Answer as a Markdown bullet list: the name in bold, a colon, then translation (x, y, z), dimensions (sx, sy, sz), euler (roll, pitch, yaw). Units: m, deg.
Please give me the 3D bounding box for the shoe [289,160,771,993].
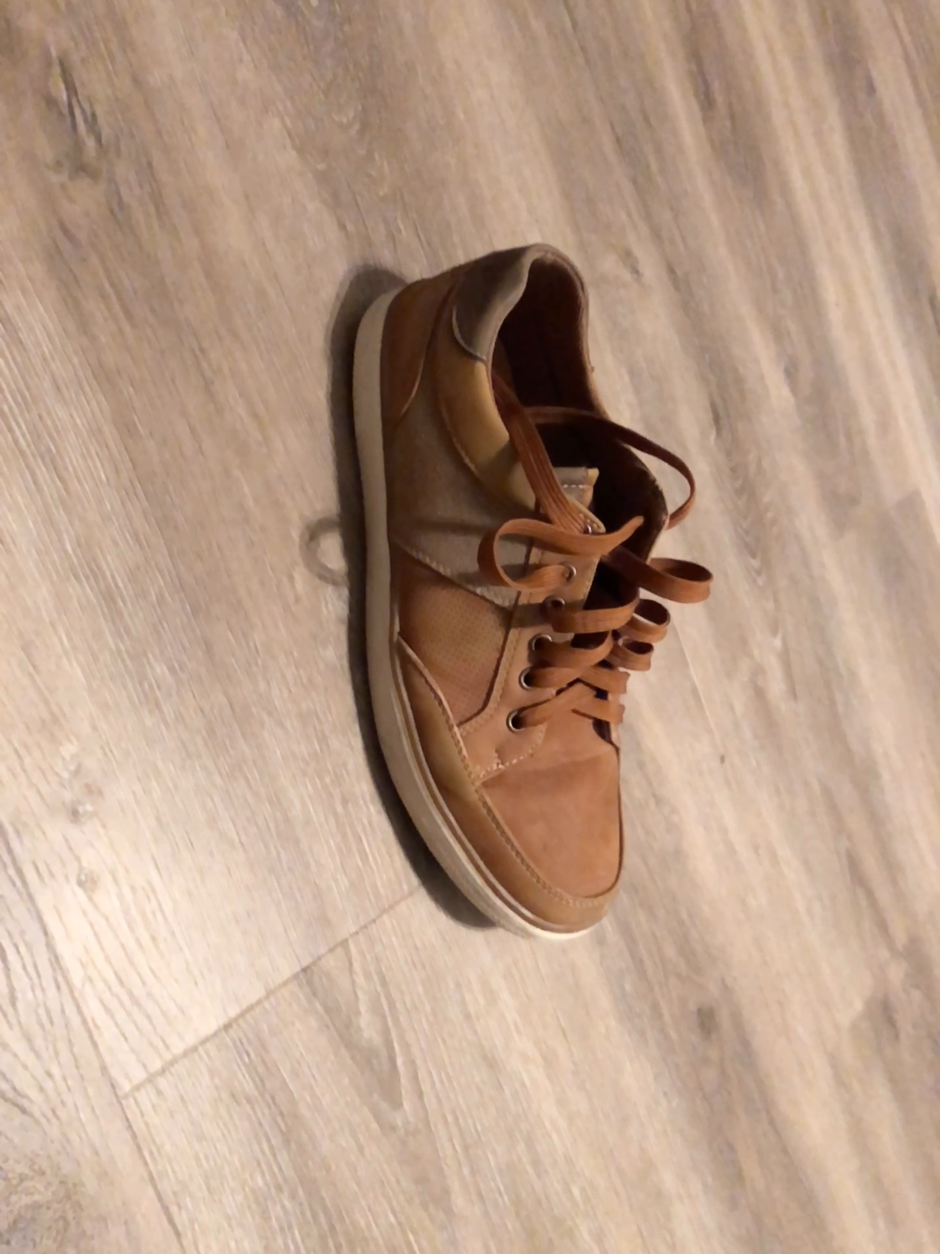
- **shoe**: translation (0.022, -0.016, 0.418), dimensions (0.111, 0.099, 0.280), euler (-6, 84, -43)
